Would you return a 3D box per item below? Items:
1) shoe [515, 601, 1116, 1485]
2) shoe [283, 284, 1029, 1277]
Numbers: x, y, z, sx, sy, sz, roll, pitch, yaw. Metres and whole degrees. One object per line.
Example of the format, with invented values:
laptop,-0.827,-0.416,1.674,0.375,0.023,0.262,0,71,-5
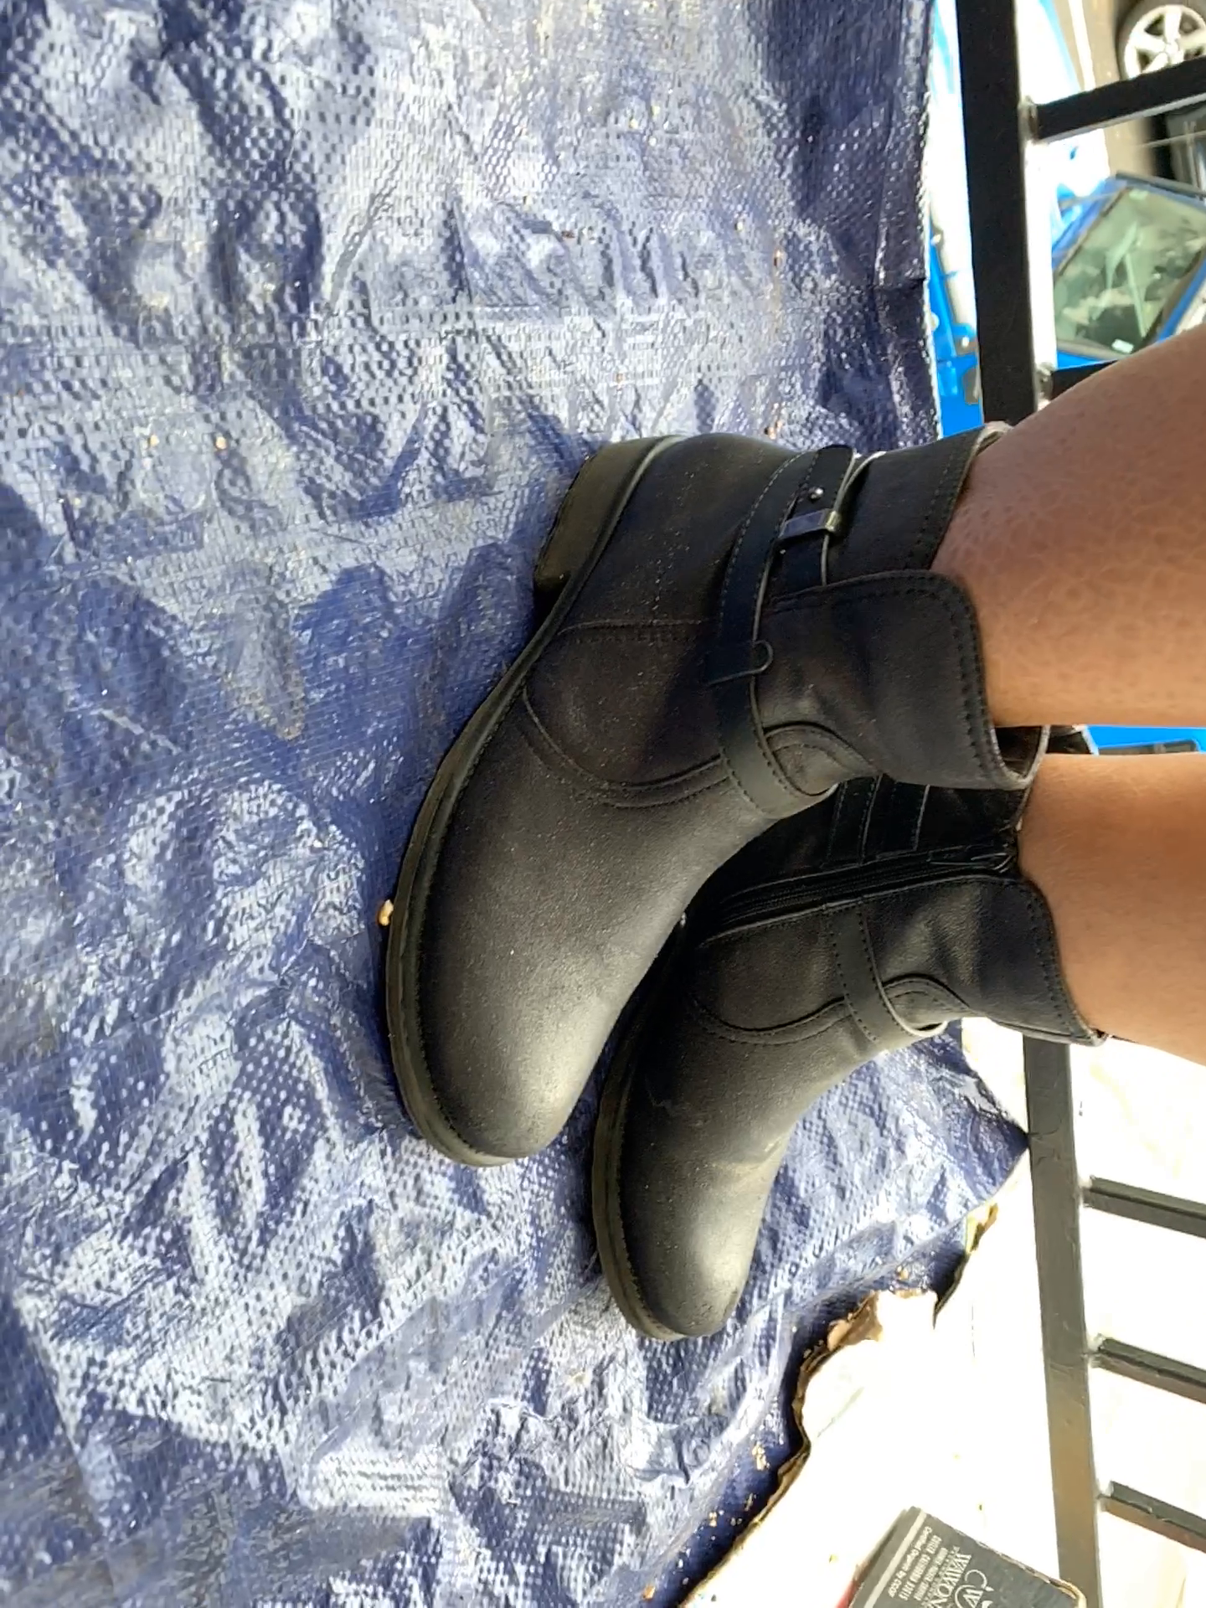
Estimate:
shoe,0.088,0.078,0.454,0.111,0.109,0.280,35,68,-45
shoe,0.028,-0.014,0.408,0.101,0.129,0.280,38,66,-44
